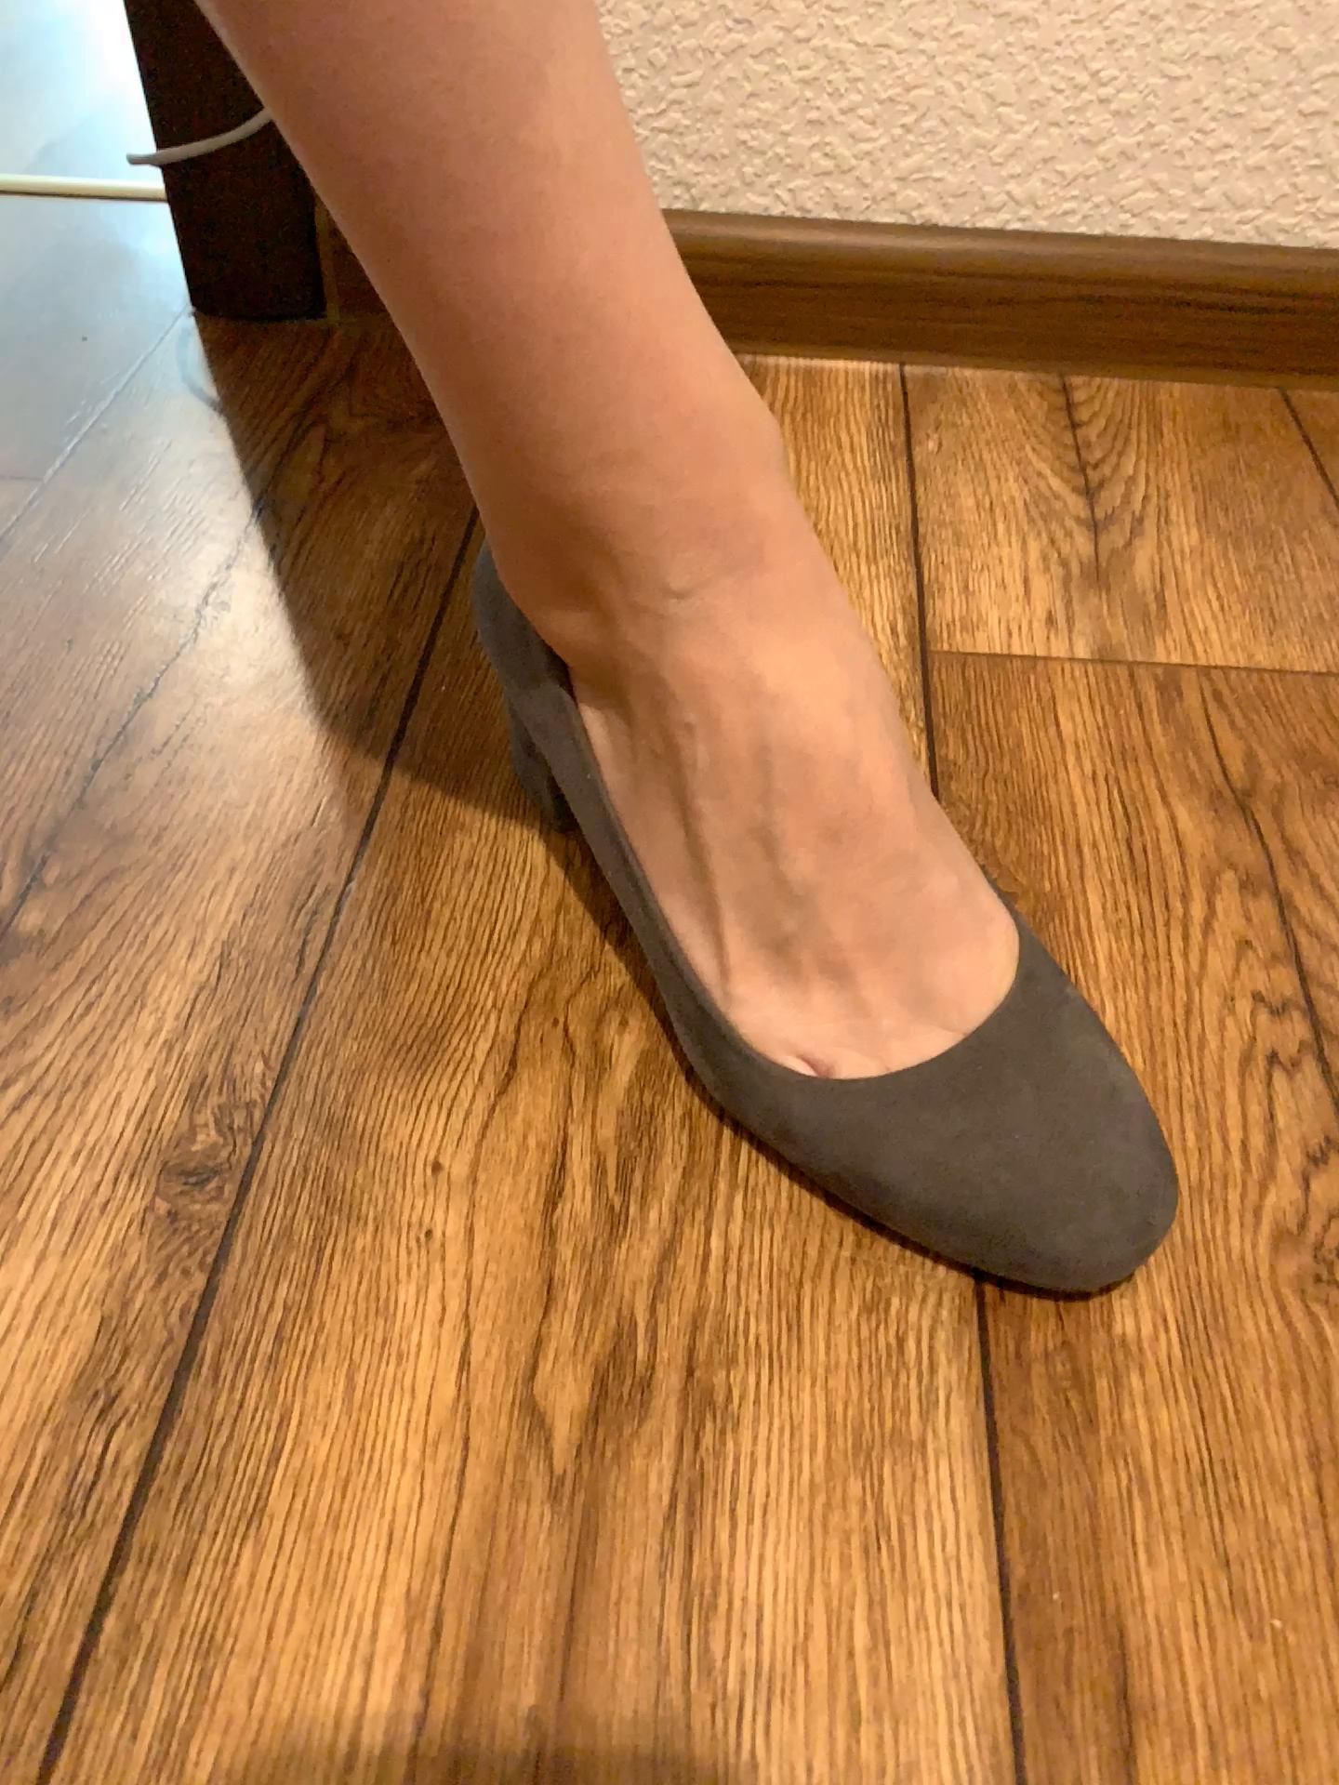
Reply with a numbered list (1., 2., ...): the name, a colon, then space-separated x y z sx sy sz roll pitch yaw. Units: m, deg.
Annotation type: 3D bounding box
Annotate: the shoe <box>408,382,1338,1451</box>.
1. shoe: 0.037 -0.009 0.304 0.083 0.109 0.211 -28 52 -23
